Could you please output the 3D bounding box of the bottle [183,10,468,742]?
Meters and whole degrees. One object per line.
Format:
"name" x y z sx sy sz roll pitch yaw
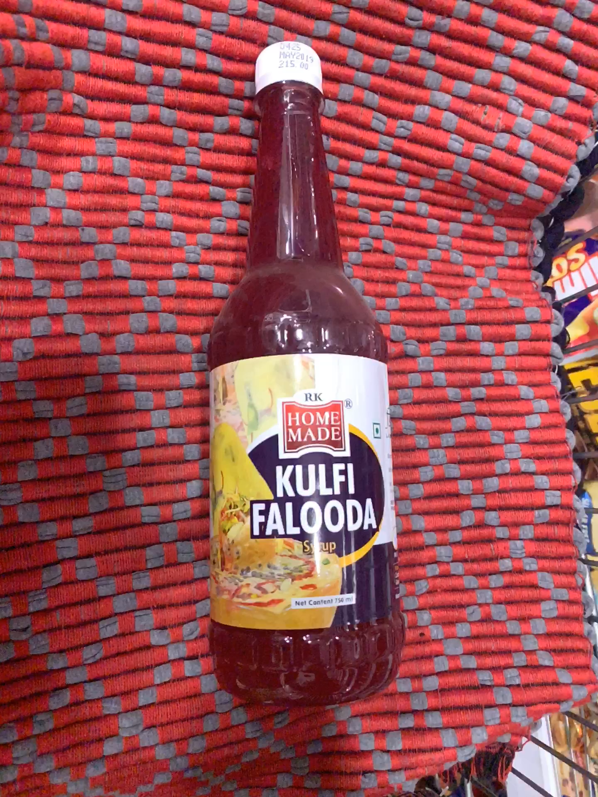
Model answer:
"bottle" -0.001 -0.016 0.245 0.070 0.070 0.250 2 74 -21
